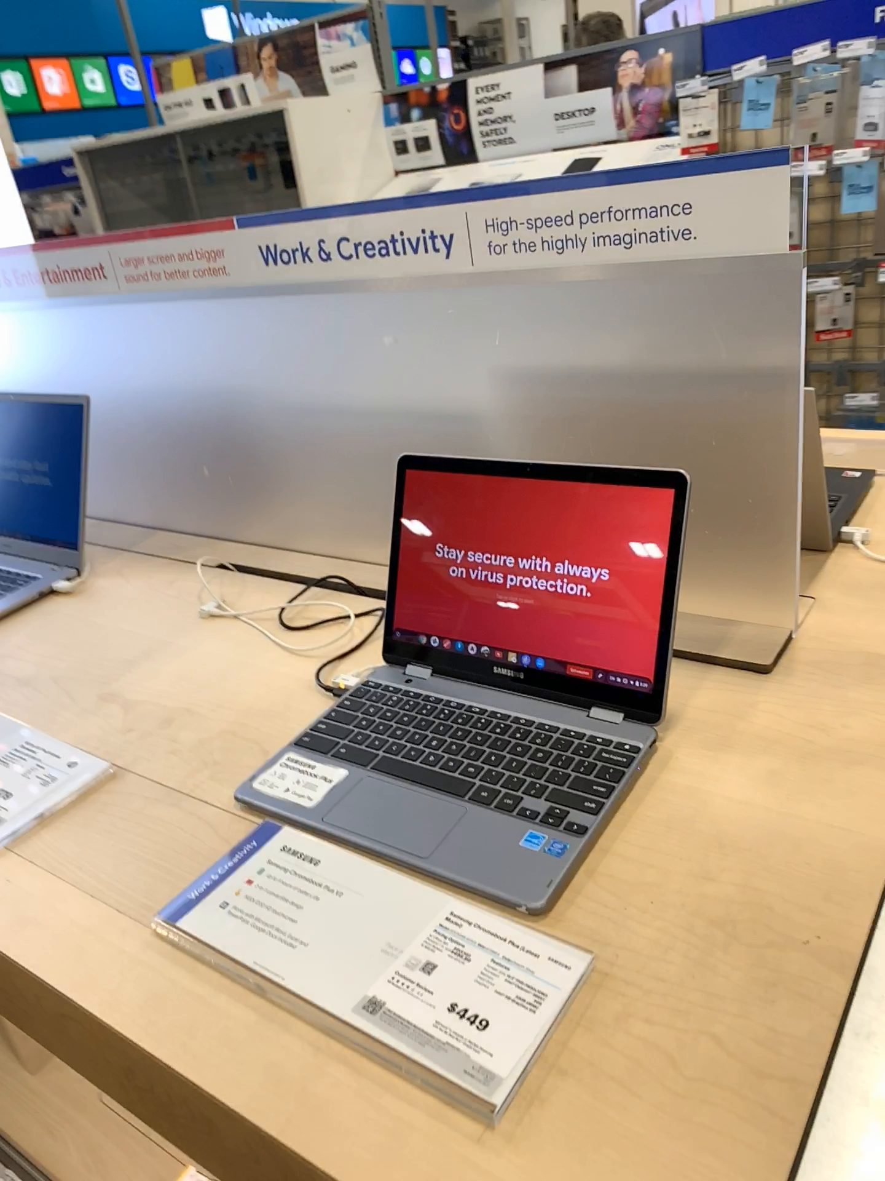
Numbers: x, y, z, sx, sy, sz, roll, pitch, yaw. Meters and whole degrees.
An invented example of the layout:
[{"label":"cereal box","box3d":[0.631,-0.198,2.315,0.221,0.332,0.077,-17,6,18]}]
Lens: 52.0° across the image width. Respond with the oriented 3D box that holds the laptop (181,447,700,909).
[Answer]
[{"label":"laptop","box3d":[0.015,0.033,0.711,0.274,0.181,0.288,9,33,35]}]
